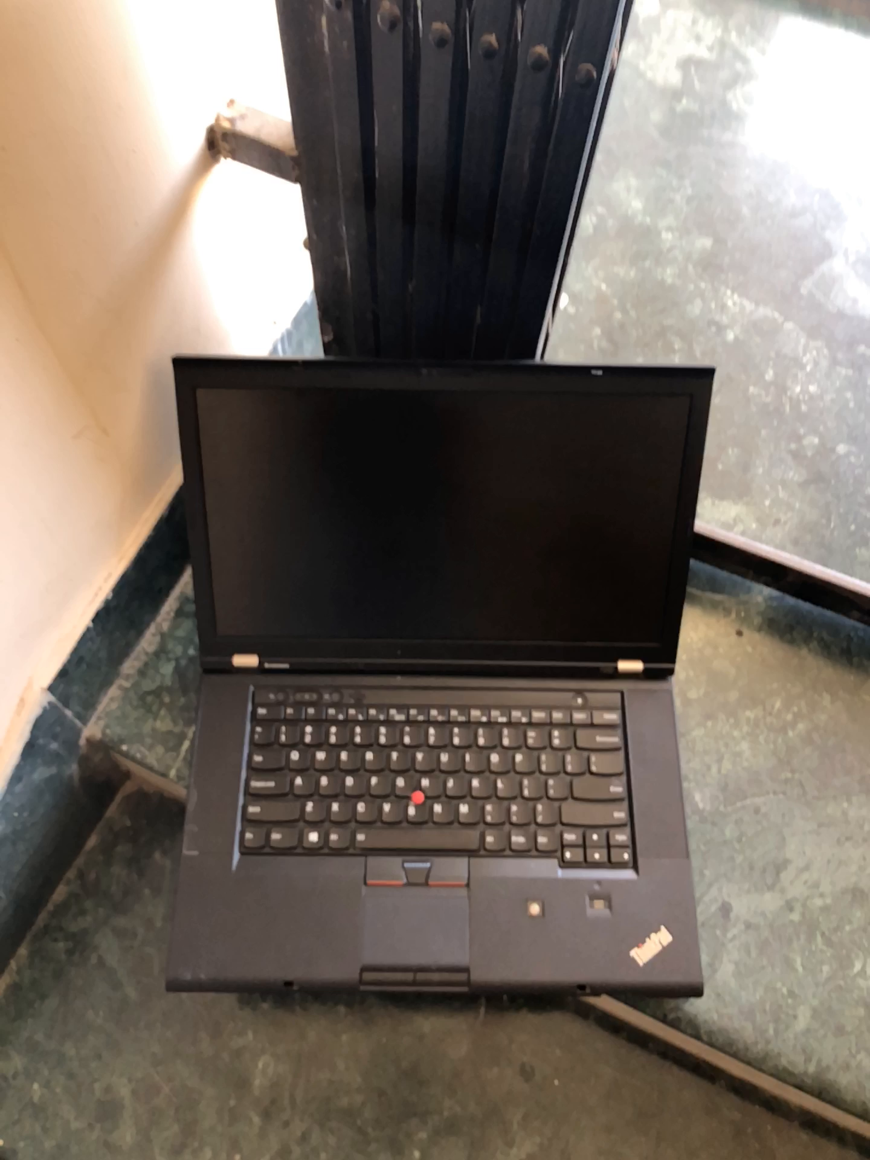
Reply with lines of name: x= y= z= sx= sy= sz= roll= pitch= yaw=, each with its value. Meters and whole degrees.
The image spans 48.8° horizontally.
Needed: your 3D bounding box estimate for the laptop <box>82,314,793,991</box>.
laptop: x=0.002 y=0.051 z=0.637 sx=0.359 sy=0.181 sz=0.389 roll=1 pitch=67 yaw=-1
